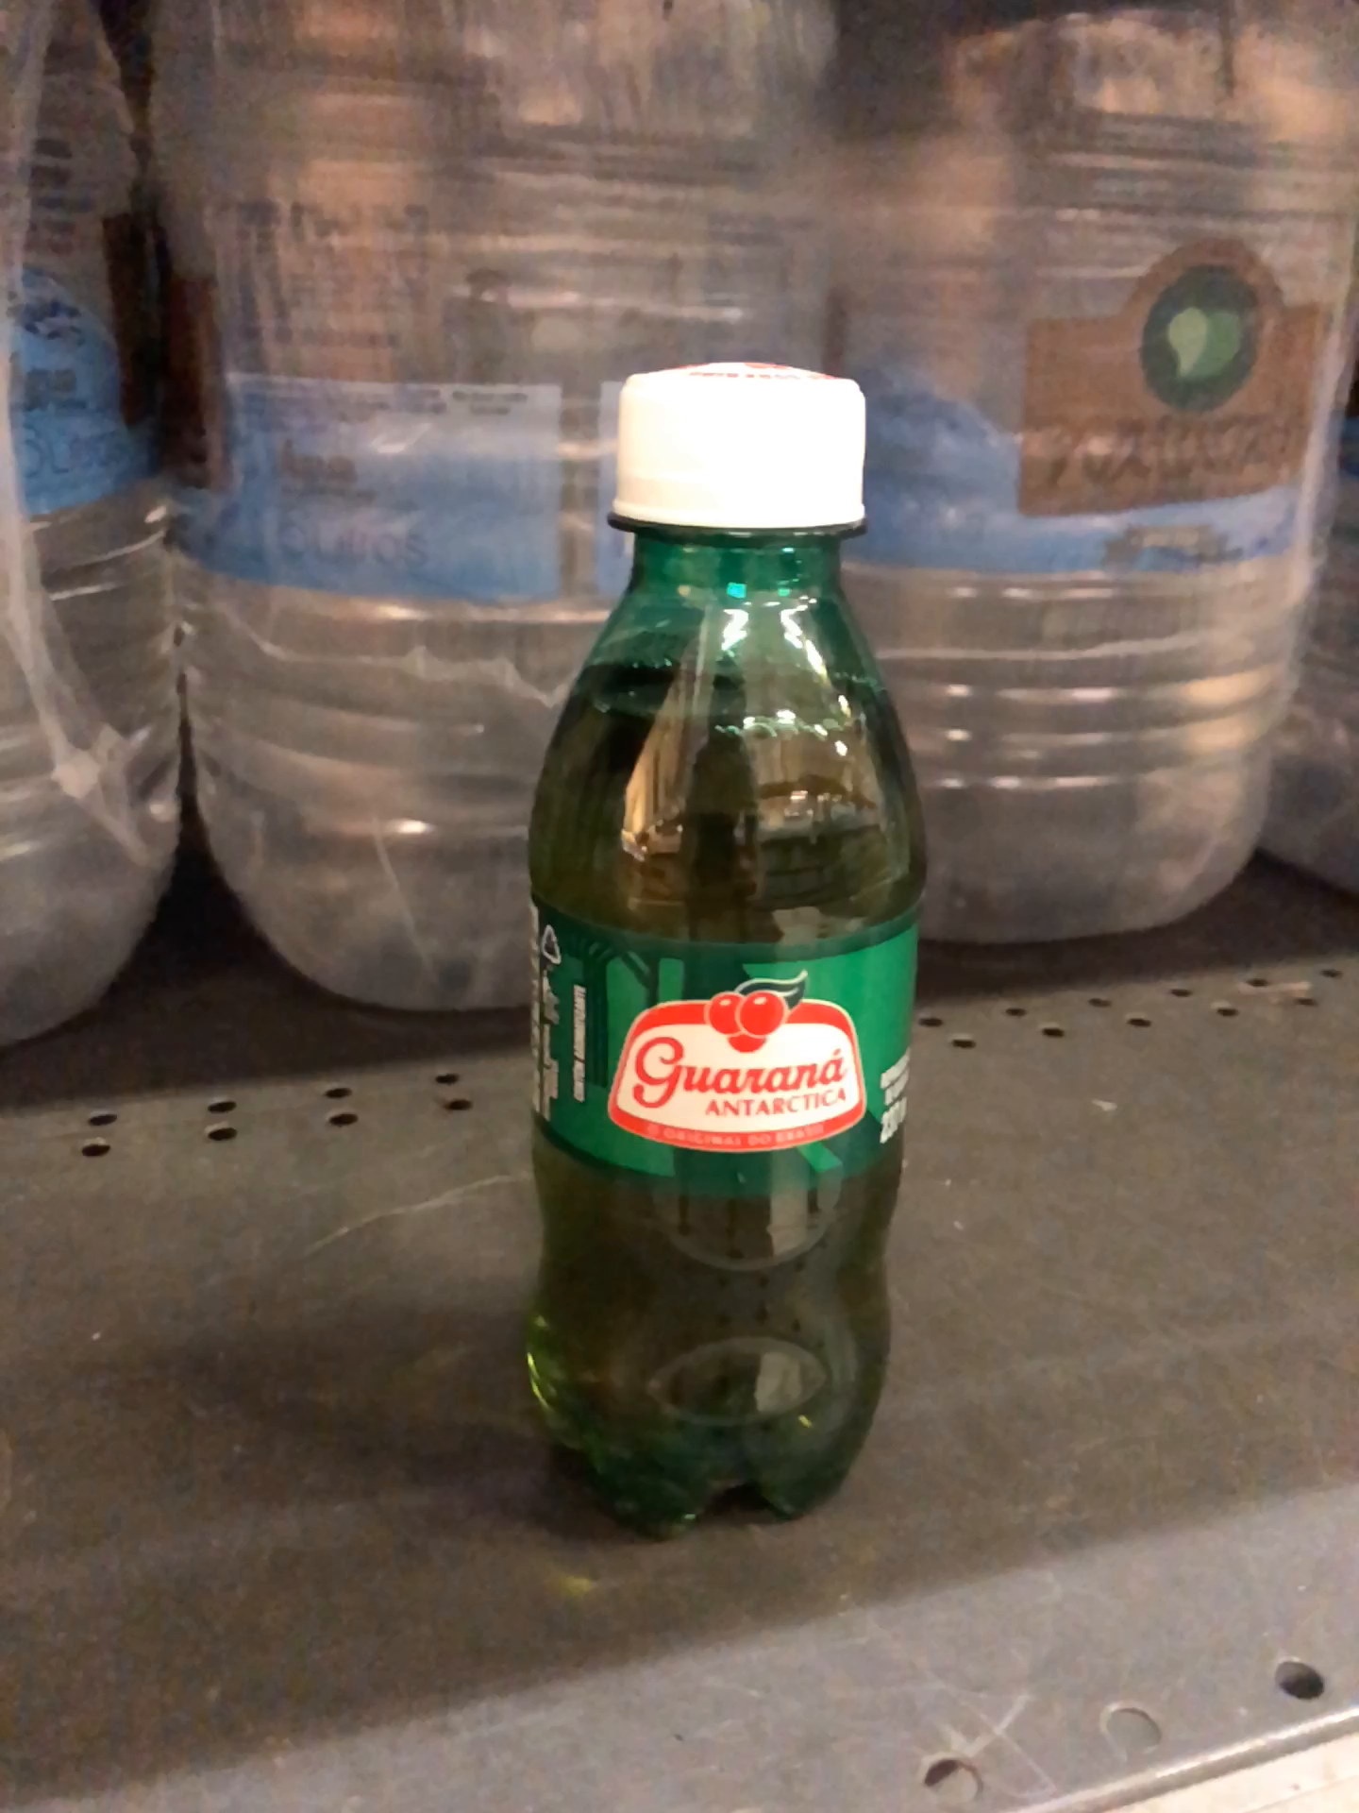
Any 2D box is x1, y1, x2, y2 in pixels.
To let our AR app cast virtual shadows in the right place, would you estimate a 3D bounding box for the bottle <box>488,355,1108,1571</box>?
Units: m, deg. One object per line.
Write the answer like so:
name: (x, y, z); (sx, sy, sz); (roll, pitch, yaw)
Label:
bottle: (0.007, 0.006, 0.208); (0.060, 0.149, 0.060); (2, 21, -1)
